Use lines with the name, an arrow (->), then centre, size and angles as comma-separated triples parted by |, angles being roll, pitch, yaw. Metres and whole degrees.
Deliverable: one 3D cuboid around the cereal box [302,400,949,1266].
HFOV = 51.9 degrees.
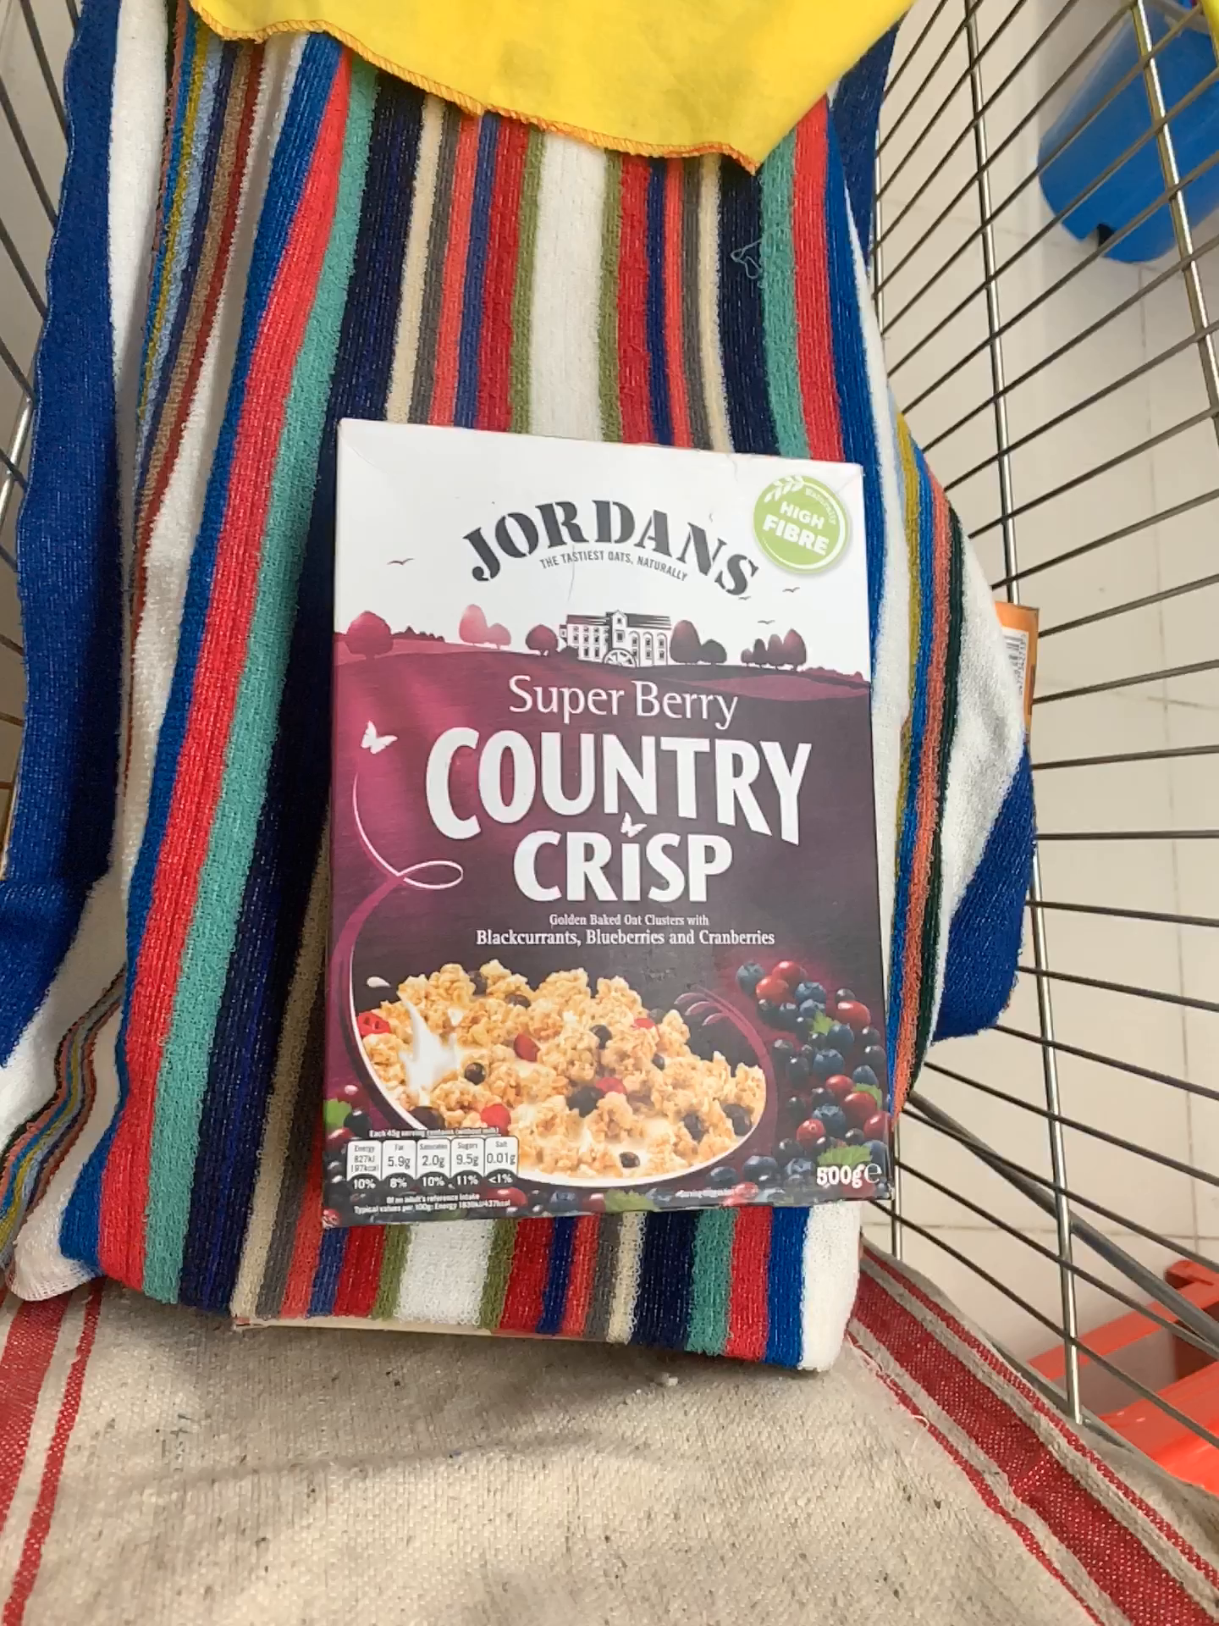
cereal box -> 0.001, 0.005, 0.390 | 0.180, 0.060, 0.240 | 1, 81, -11
